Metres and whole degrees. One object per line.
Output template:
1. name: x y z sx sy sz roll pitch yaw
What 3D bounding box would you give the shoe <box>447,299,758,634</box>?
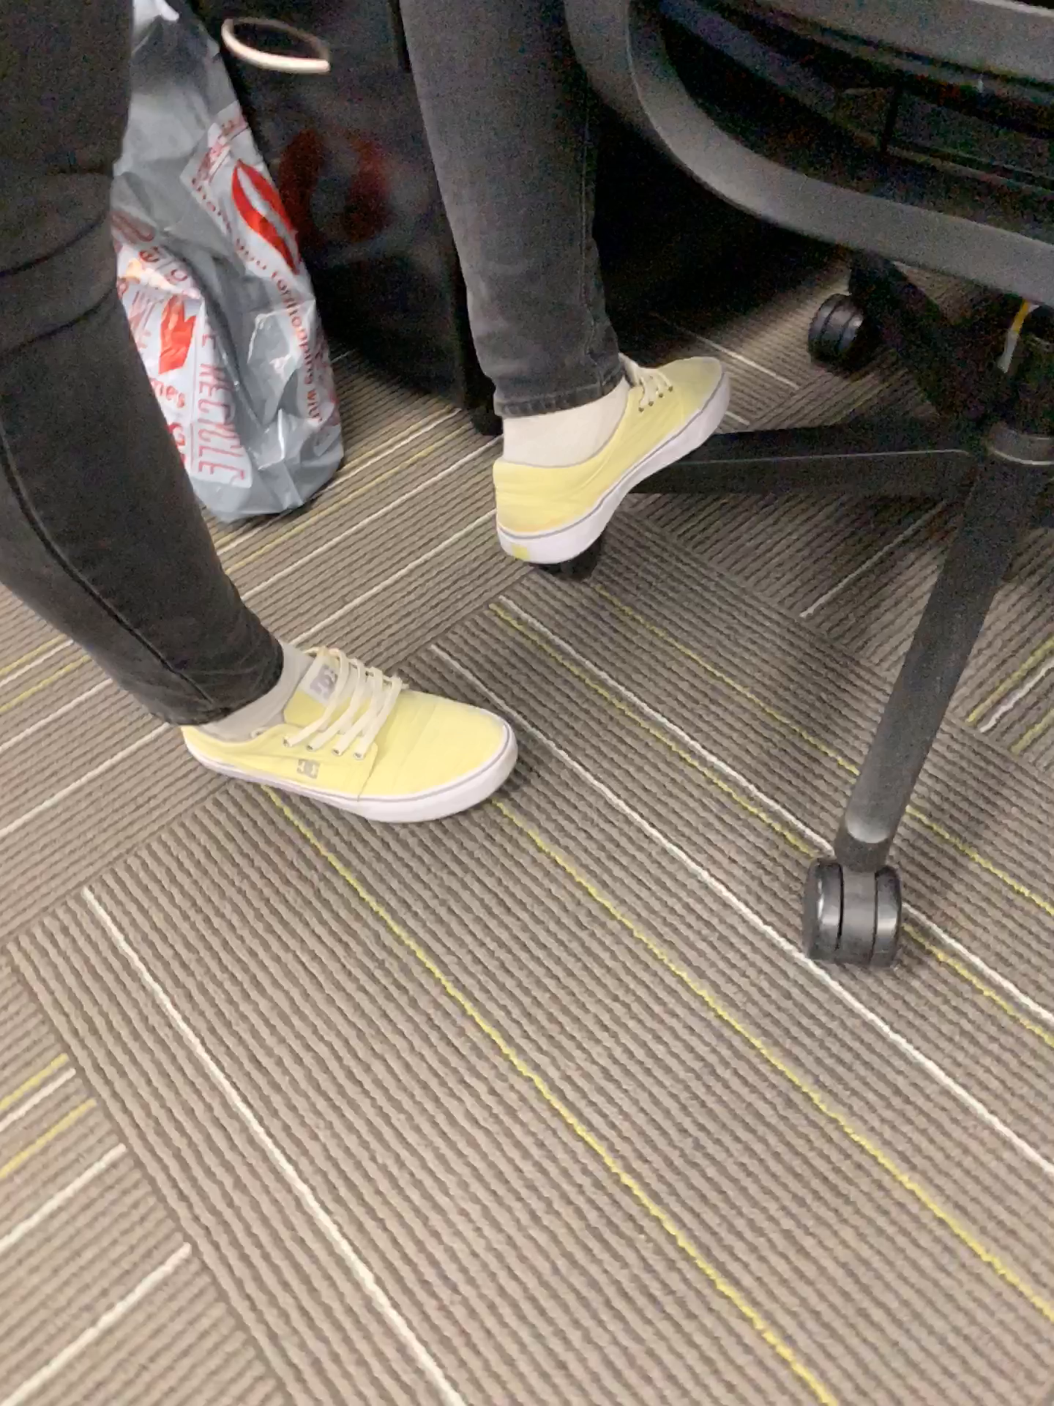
1. shoe: 0.064 -0.186 0.811 0.099 0.096 0.260 26 58 25

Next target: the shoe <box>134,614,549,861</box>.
1. shoe: -0.129 0.023 0.791 0.269 0.101 0.102 8 52 13
